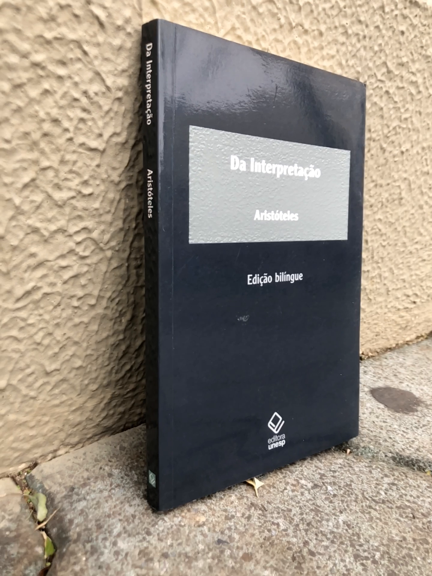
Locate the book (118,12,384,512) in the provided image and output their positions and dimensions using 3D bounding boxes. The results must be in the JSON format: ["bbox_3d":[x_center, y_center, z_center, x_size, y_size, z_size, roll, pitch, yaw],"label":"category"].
[{"bbox_3d":[0.023,-0.011,0.230,0.132,0.188,0.030,-5,8,-35],"label":"book"}]
